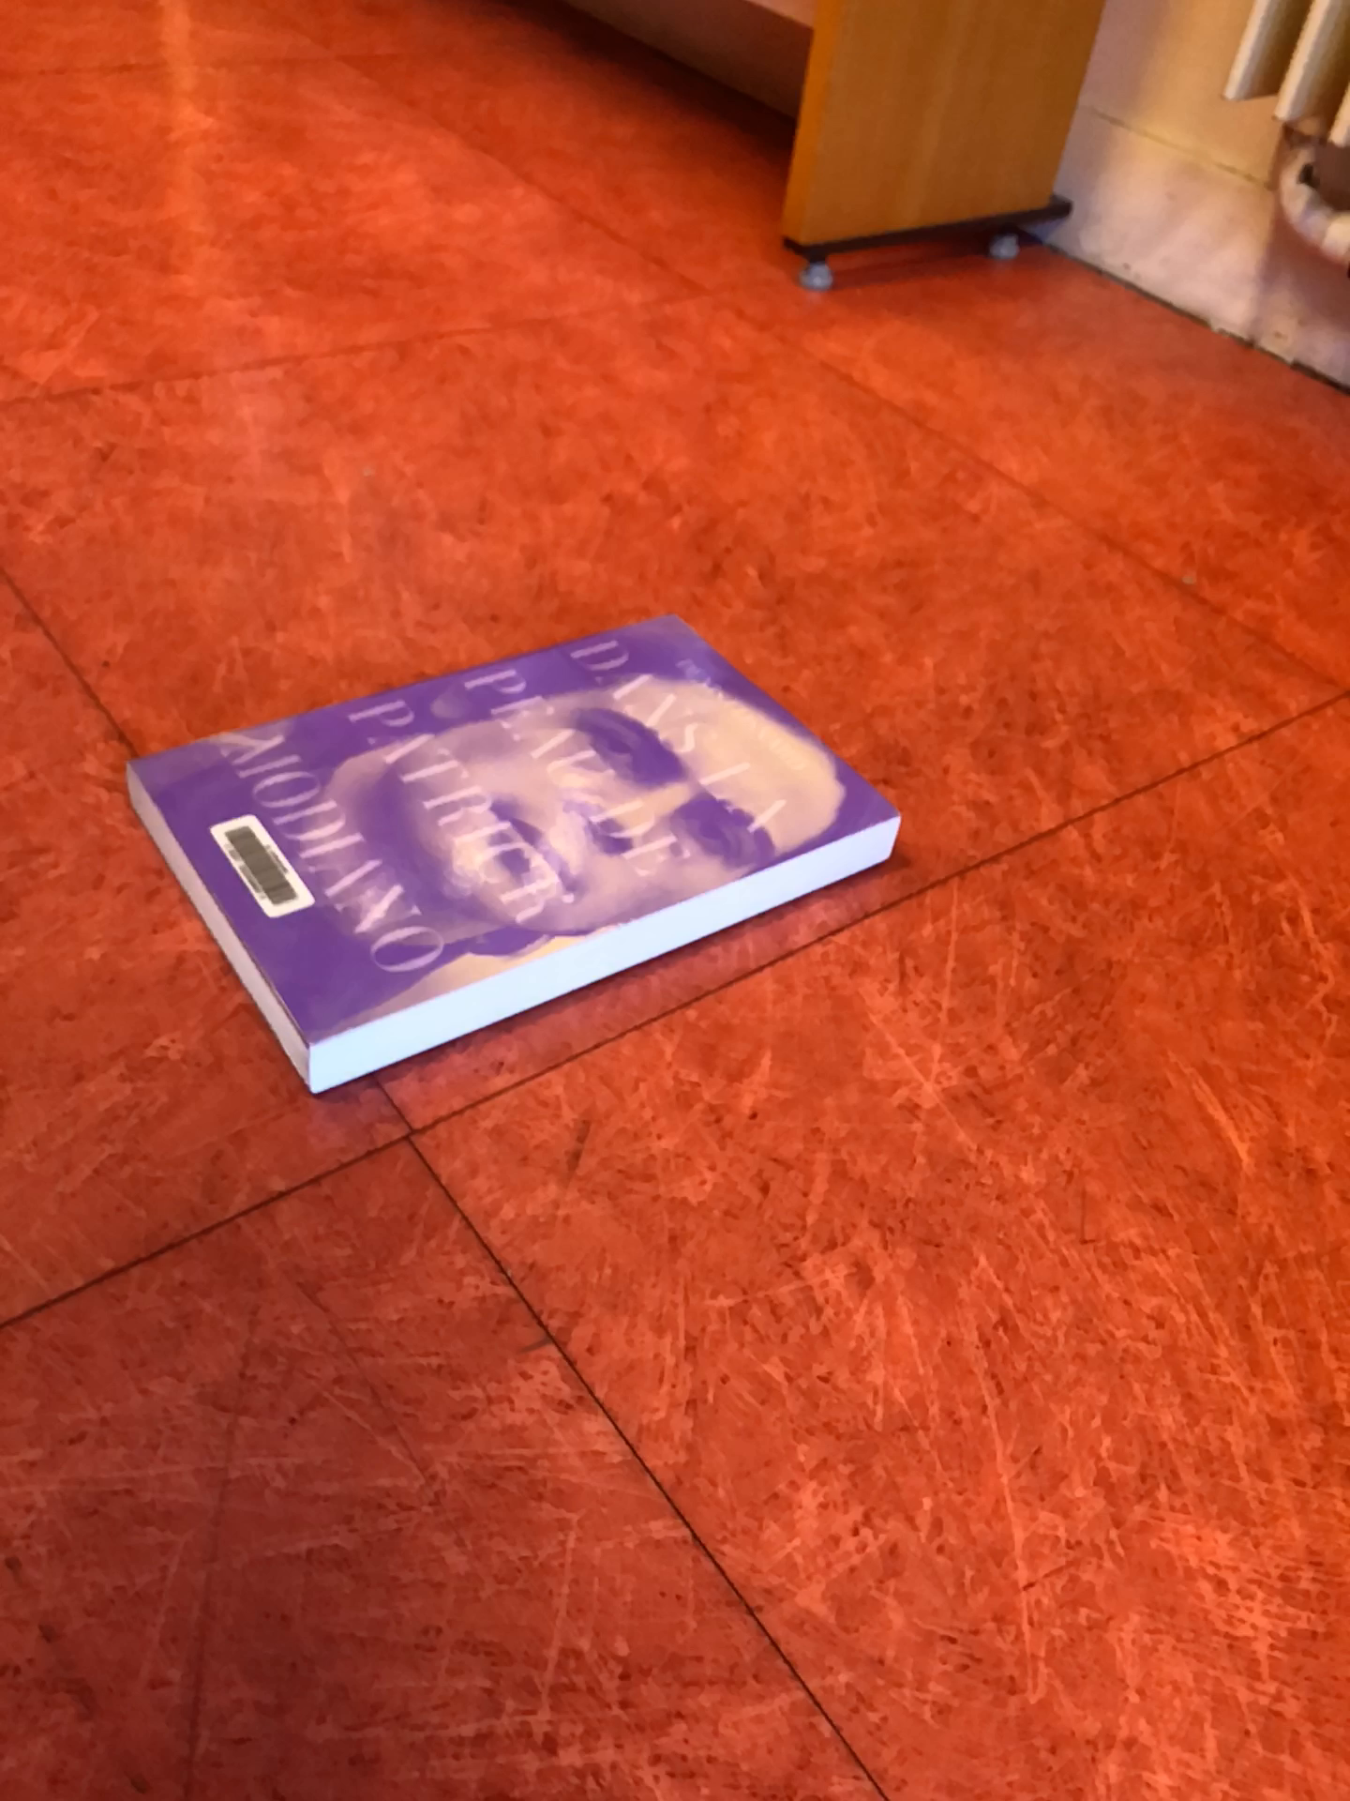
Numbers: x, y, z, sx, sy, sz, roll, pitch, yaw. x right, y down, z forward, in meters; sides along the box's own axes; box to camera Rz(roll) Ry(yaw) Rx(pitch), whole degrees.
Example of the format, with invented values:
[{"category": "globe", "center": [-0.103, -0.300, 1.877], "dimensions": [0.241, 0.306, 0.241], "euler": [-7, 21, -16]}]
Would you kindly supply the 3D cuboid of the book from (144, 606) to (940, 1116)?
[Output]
[{"category": "book", "center": [-0.044, -0.029, 0.529], "dimensions": [0.233, 0.030, 0.150], "euler": [-21, 50, -29]}]
